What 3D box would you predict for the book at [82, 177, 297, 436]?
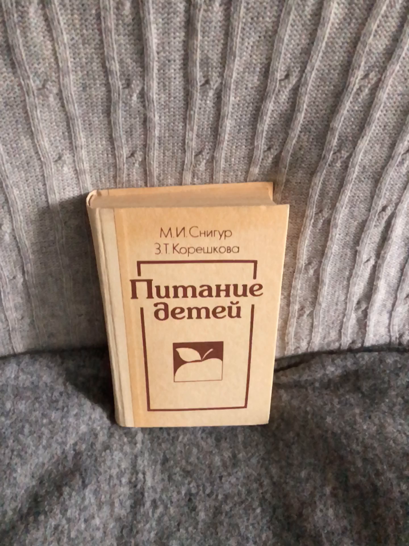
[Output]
[{"bbox_3d":[-0.008,0.036,0.363,0.139,0.212,0.042,-3,30,-3],"label":"book"}]
